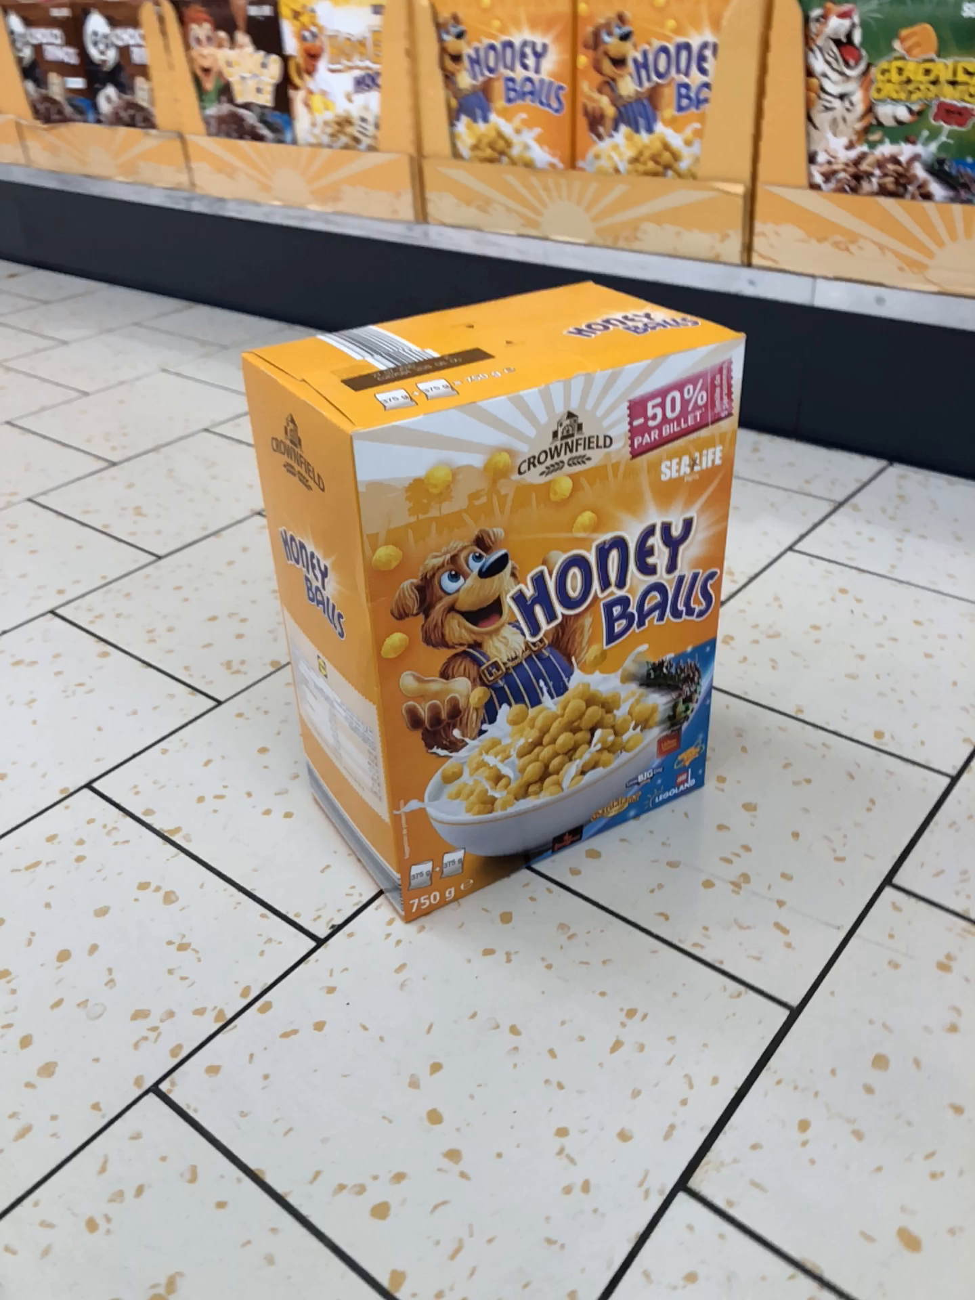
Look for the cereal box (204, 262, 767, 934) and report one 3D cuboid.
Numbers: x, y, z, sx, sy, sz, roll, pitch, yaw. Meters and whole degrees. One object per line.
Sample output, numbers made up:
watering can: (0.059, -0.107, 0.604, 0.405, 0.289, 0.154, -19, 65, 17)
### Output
cereal box: (0.003, -0.034, 0.540, 0.211, 0.258, 0.130, -19, 35, -24)
